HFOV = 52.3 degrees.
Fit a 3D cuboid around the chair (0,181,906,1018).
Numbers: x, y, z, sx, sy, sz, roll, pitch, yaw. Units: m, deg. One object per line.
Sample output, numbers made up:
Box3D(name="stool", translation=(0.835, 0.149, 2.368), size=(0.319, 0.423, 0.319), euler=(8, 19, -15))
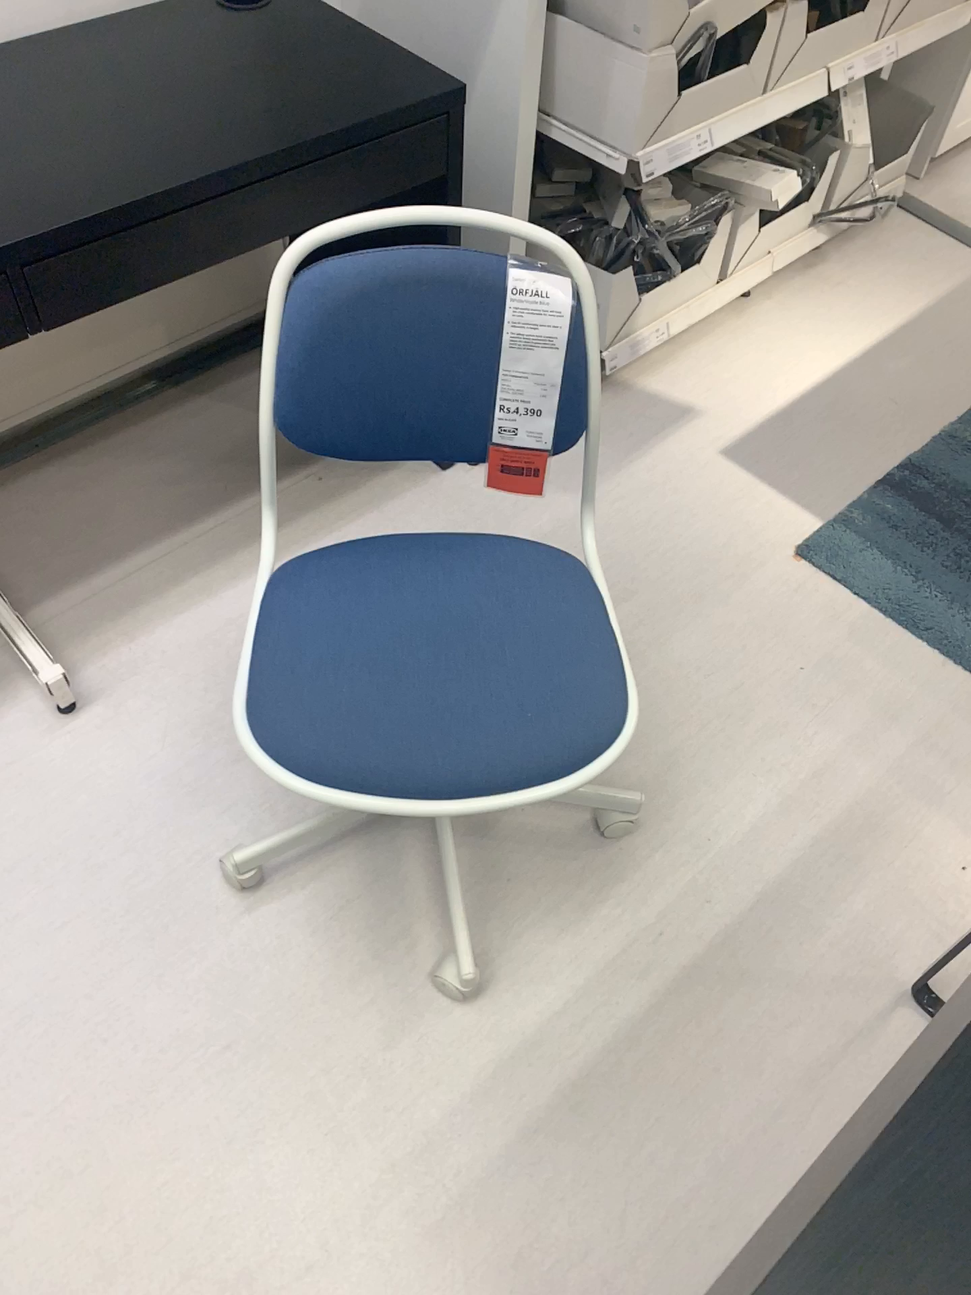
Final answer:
Box3D(name="chair", translation=(-0.056, -0.005, 1.174), size=(0.640, 0.797, 0.602), euler=(-1, 52, -4))
